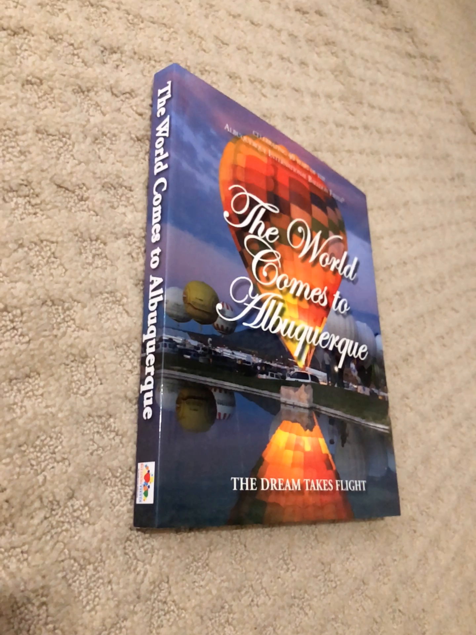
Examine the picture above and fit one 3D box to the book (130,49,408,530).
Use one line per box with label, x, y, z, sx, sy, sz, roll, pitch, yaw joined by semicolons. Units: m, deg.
book;0.031;-0.008;0.339;0.205;0.023;0.258;17;64;-42
